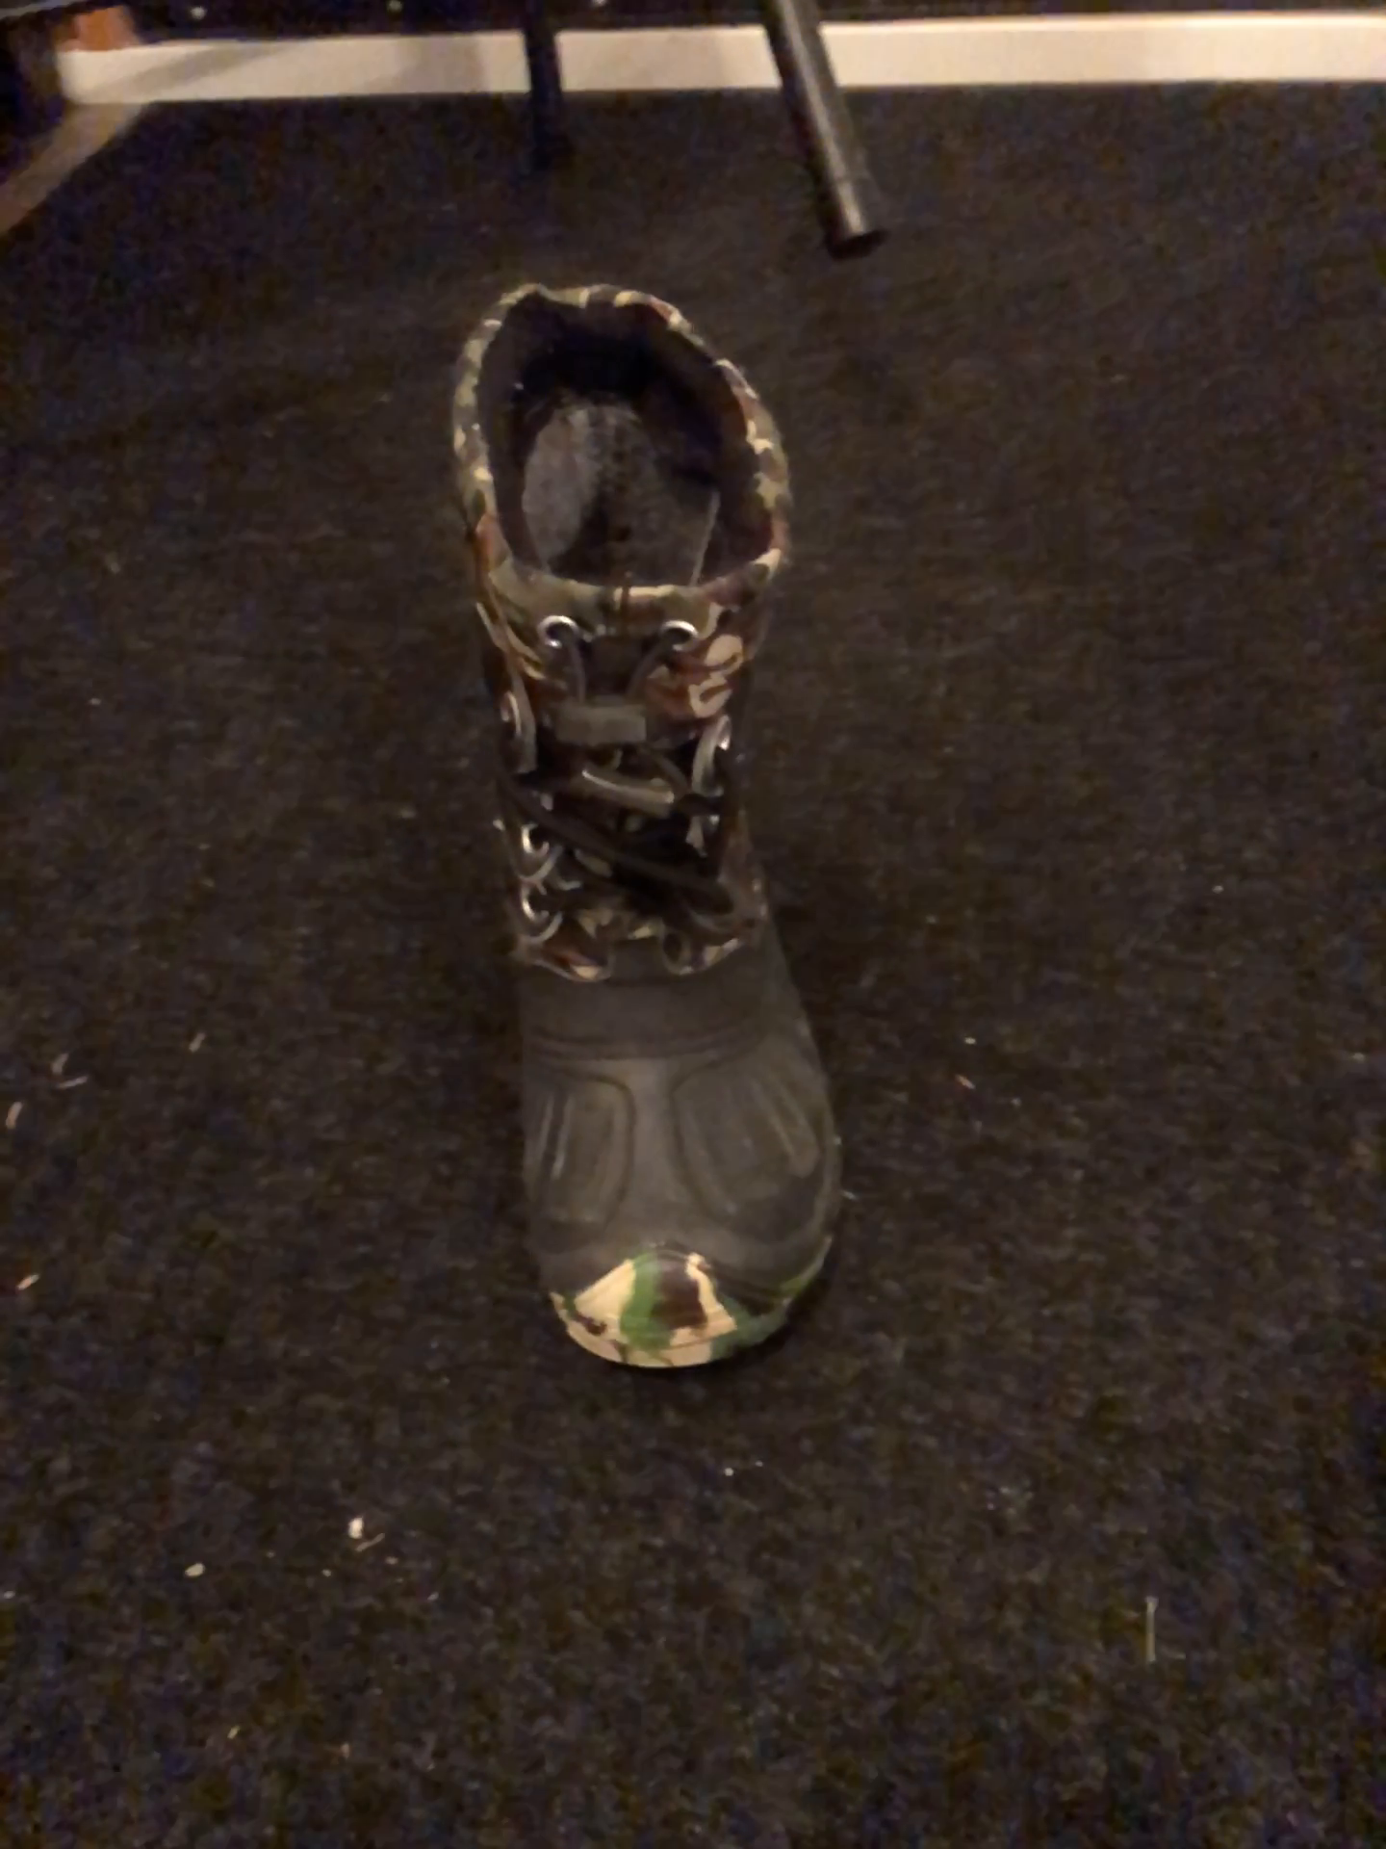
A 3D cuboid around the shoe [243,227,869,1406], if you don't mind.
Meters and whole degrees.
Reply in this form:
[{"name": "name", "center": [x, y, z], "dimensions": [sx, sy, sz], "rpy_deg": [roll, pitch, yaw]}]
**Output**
[{"name": "shoe", "center": [-0.019, -0.026, 0.390], "dimensions": [0.100, 0.209, 0.201], "rpy_deg": [-5, 45, 1]}]
